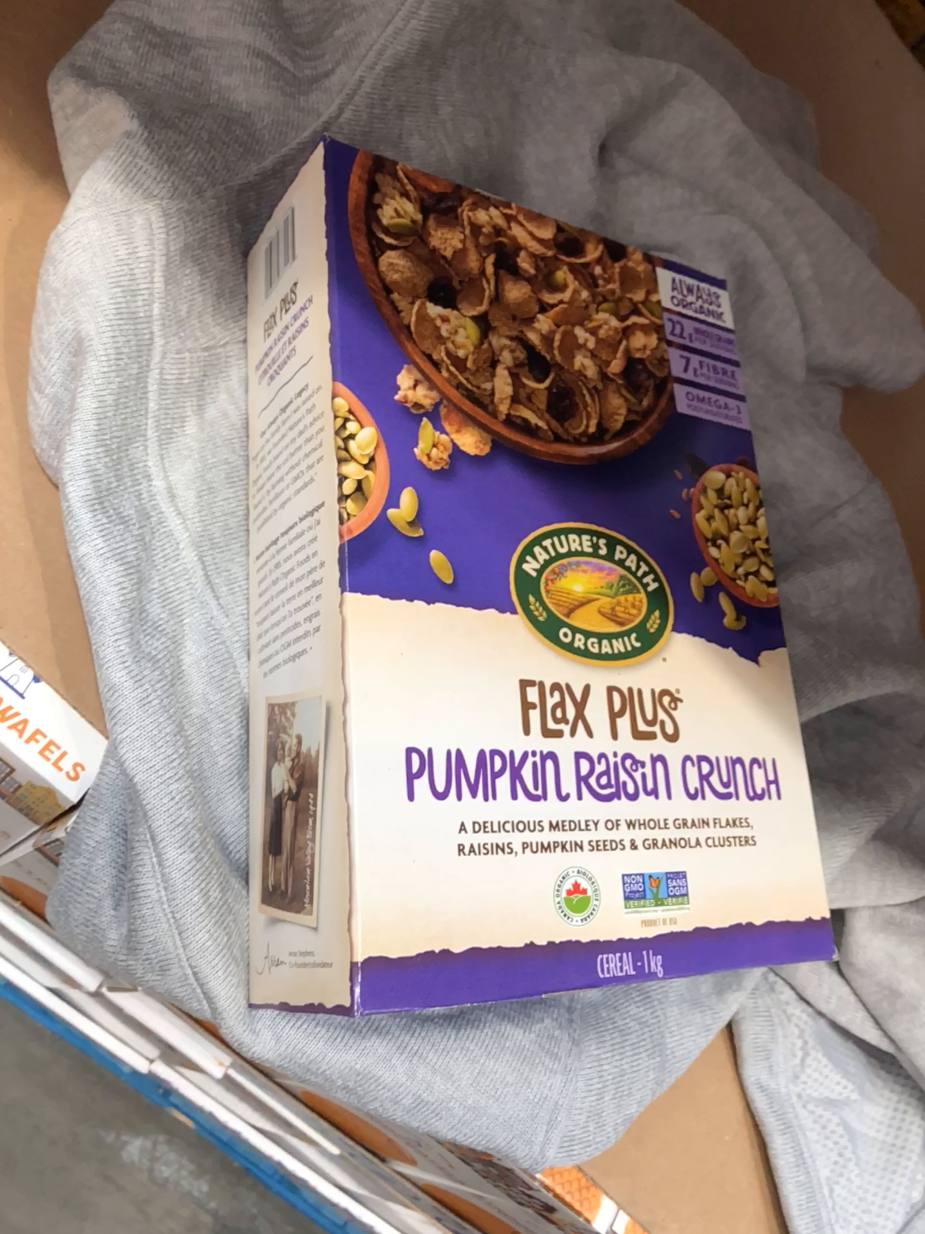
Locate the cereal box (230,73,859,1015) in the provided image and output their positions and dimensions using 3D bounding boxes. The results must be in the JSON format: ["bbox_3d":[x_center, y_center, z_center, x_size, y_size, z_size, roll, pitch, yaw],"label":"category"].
[{"bbox_3d":[0.025,-0.020,0.410,0.211,0.090,0.310,6,71,-32],"label":"cereal box"}]
